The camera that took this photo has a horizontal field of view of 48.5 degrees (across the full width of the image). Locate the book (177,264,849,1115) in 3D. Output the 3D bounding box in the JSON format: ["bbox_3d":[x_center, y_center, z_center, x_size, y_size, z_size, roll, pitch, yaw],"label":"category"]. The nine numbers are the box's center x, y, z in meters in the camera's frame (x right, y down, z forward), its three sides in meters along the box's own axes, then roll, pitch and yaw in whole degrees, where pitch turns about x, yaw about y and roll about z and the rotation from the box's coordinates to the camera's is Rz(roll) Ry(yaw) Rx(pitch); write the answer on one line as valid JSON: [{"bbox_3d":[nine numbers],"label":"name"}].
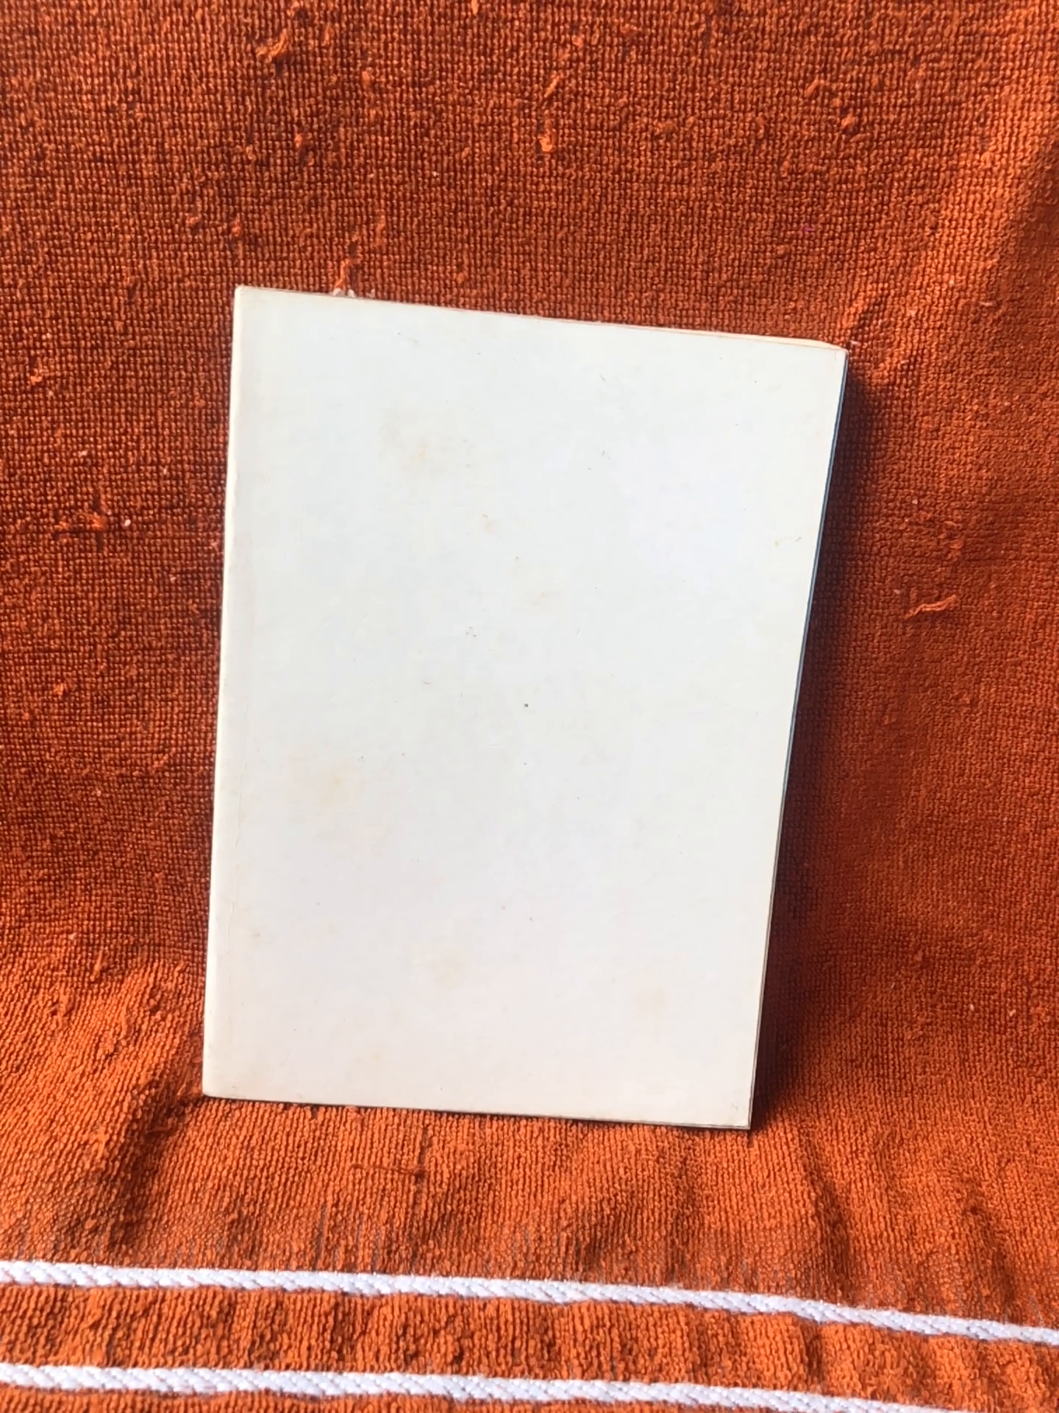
[{"bbox_3d":[-0.005,-0.002,0.310,0.150,0.200,0.030,5,2,-4],"label":"book"}]
